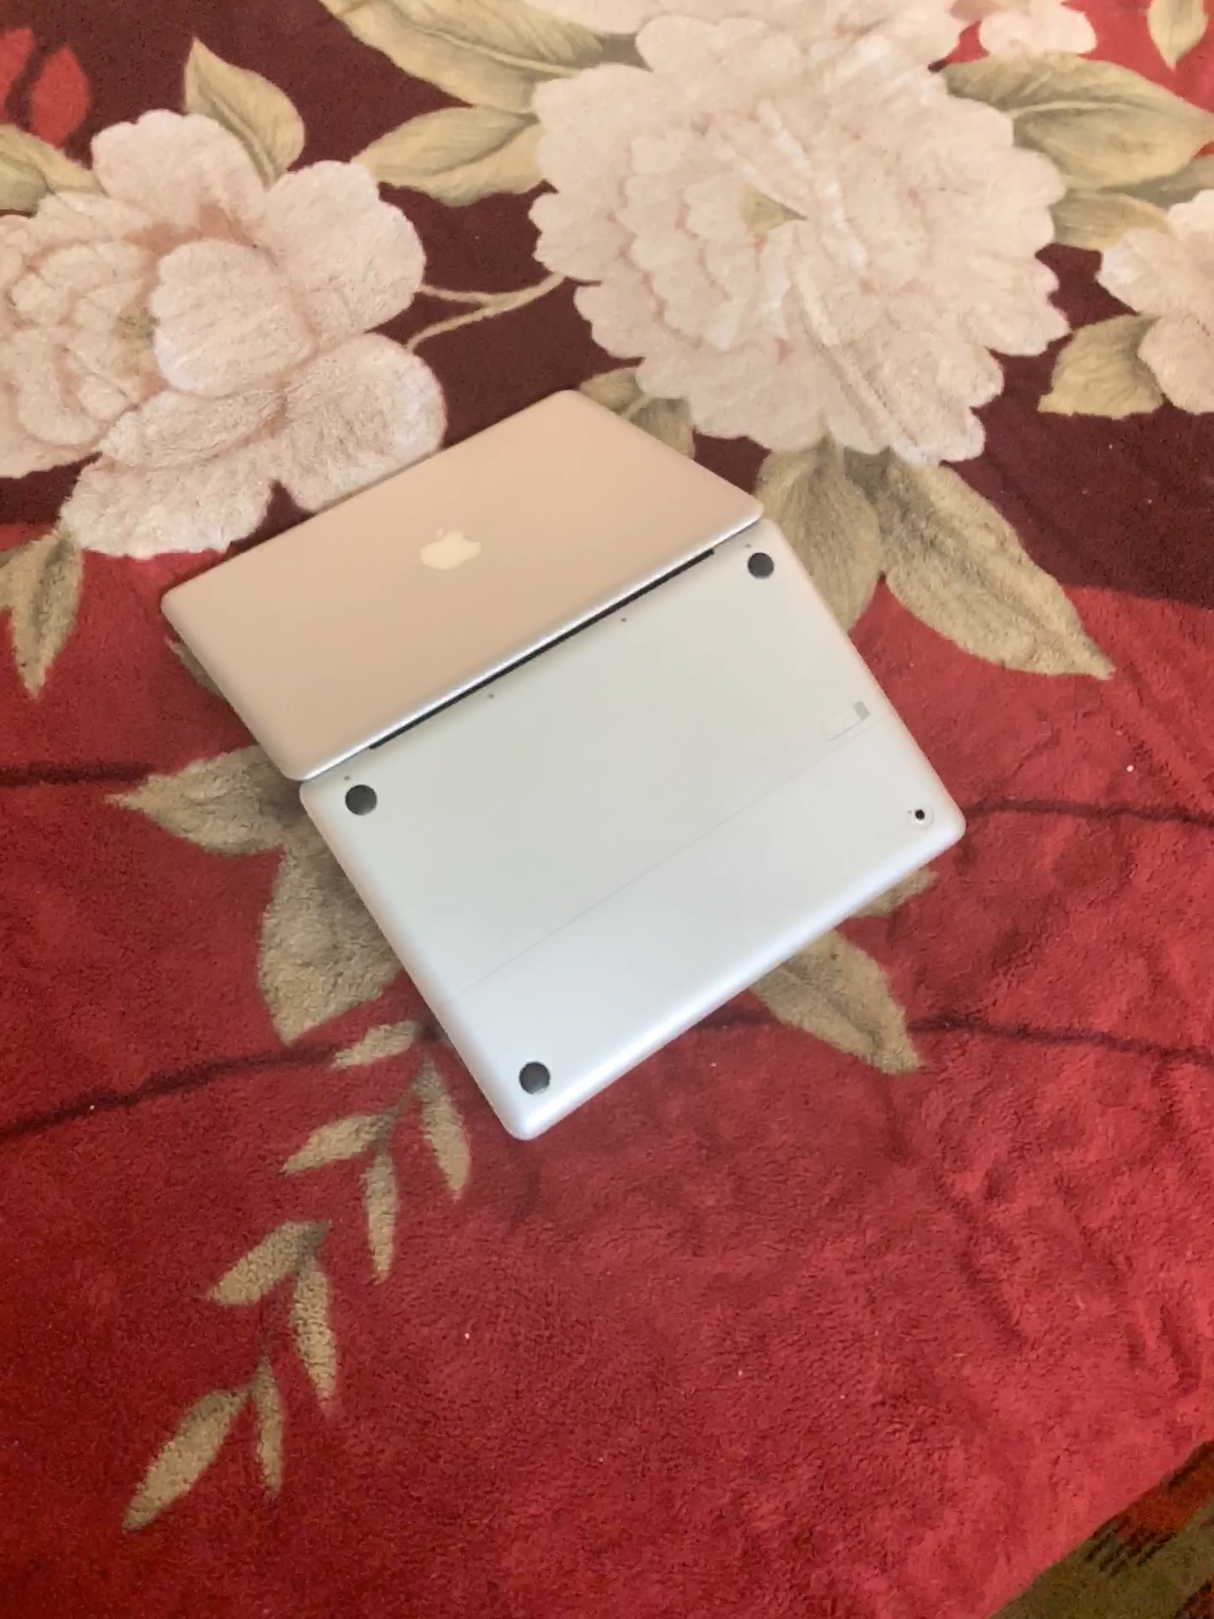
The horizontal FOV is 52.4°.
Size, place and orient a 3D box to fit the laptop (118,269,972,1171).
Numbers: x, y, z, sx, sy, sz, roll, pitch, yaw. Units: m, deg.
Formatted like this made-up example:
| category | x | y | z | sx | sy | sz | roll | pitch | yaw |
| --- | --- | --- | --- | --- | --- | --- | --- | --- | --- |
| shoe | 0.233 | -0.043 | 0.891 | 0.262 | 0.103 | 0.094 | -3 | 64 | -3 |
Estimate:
| category | x | y | z | sx | sy | sz | roll | pitch | yaw |
| --- | --- | --- | --- | --- | --- | --- | --- | --- | --- |
| laptop | -0.022 | -0.057 | 0.714 | 0.316 | 0.078 | 0.390 | -32 | 87 | -16 |
